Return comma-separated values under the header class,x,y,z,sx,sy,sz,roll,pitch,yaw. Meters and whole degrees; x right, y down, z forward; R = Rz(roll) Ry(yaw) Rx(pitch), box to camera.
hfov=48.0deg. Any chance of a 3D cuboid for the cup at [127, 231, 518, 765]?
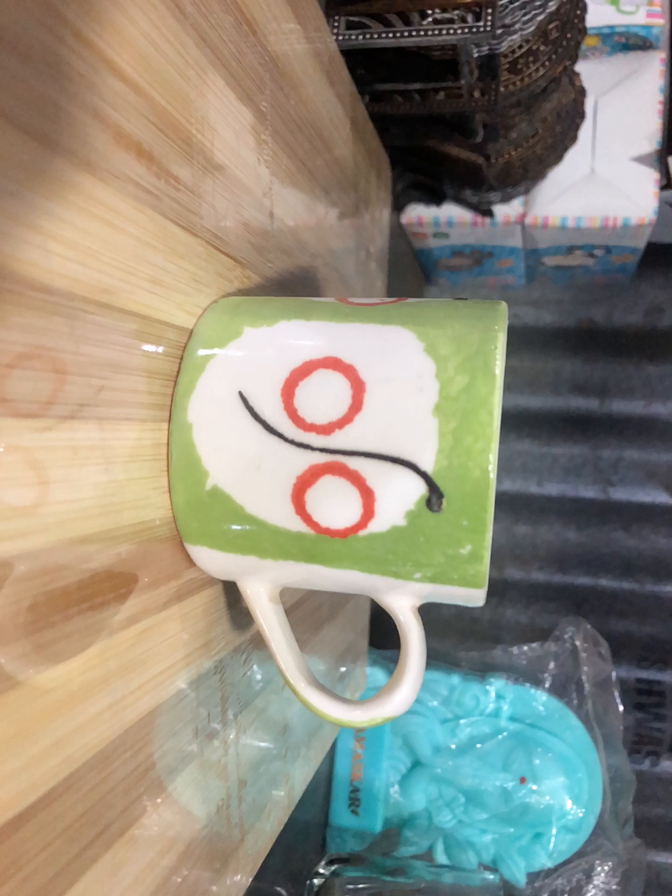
class,x,y,z,sx,sy,sz,roll,pitch,yaw
cup,0.004,0.010,0.182,0.070,0.070,0.100,32,63,-77
